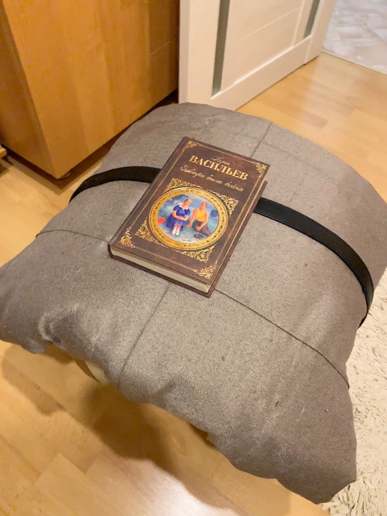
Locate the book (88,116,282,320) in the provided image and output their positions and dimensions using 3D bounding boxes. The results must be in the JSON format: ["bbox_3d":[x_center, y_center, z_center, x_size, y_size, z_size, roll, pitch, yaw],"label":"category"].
[{"bbox_3d":[-0.001,-0.058,0.471,0.140,0.050,0.221,22,62,12],"label":"book"}]
